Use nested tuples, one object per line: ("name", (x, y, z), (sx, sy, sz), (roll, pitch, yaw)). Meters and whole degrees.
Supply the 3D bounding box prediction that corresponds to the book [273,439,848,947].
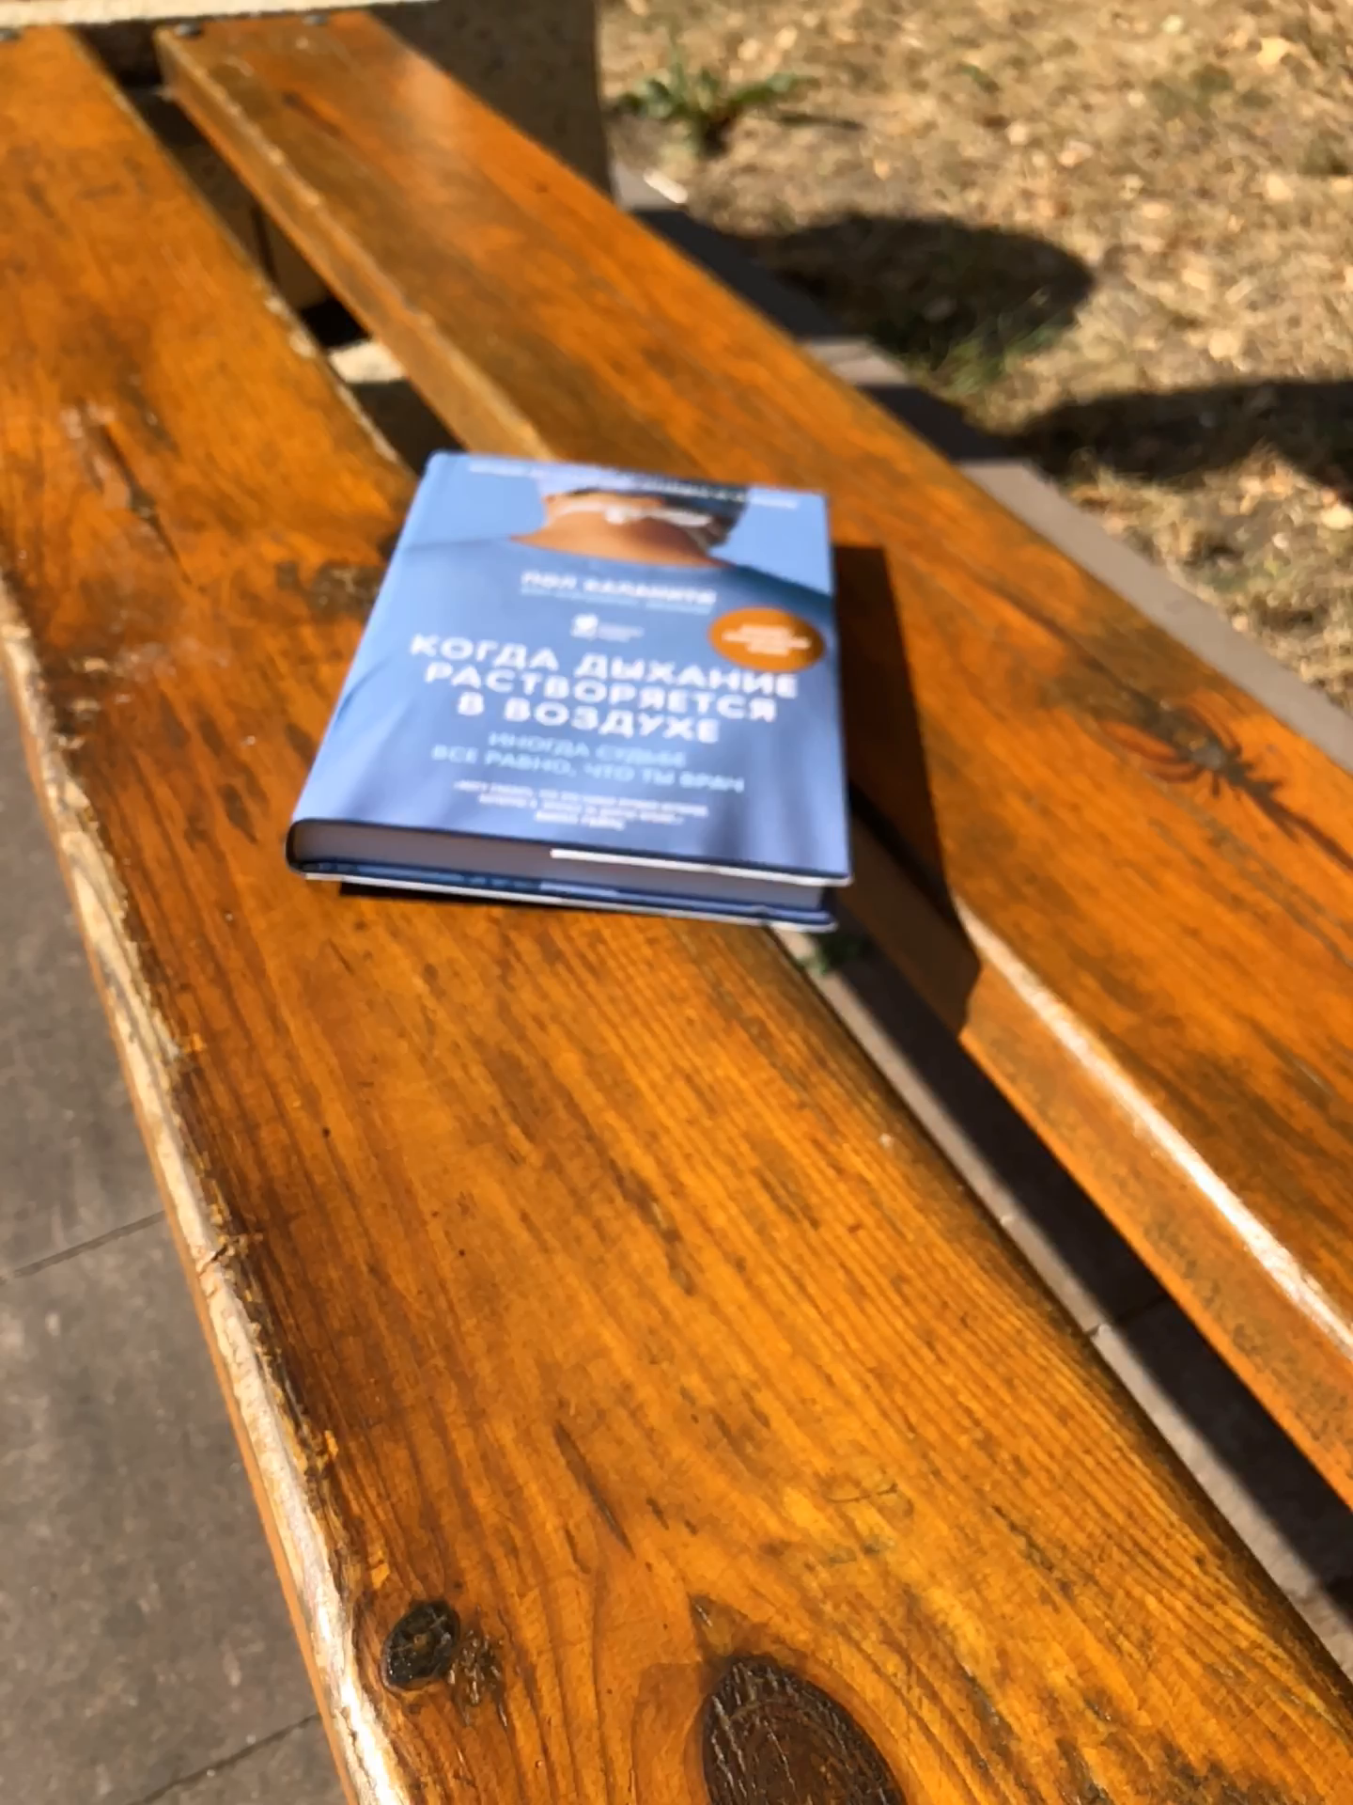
("book", (-0.022, -0.075, 0.455), (0.140, 0.025, 0.211), (6, 41, -1))
